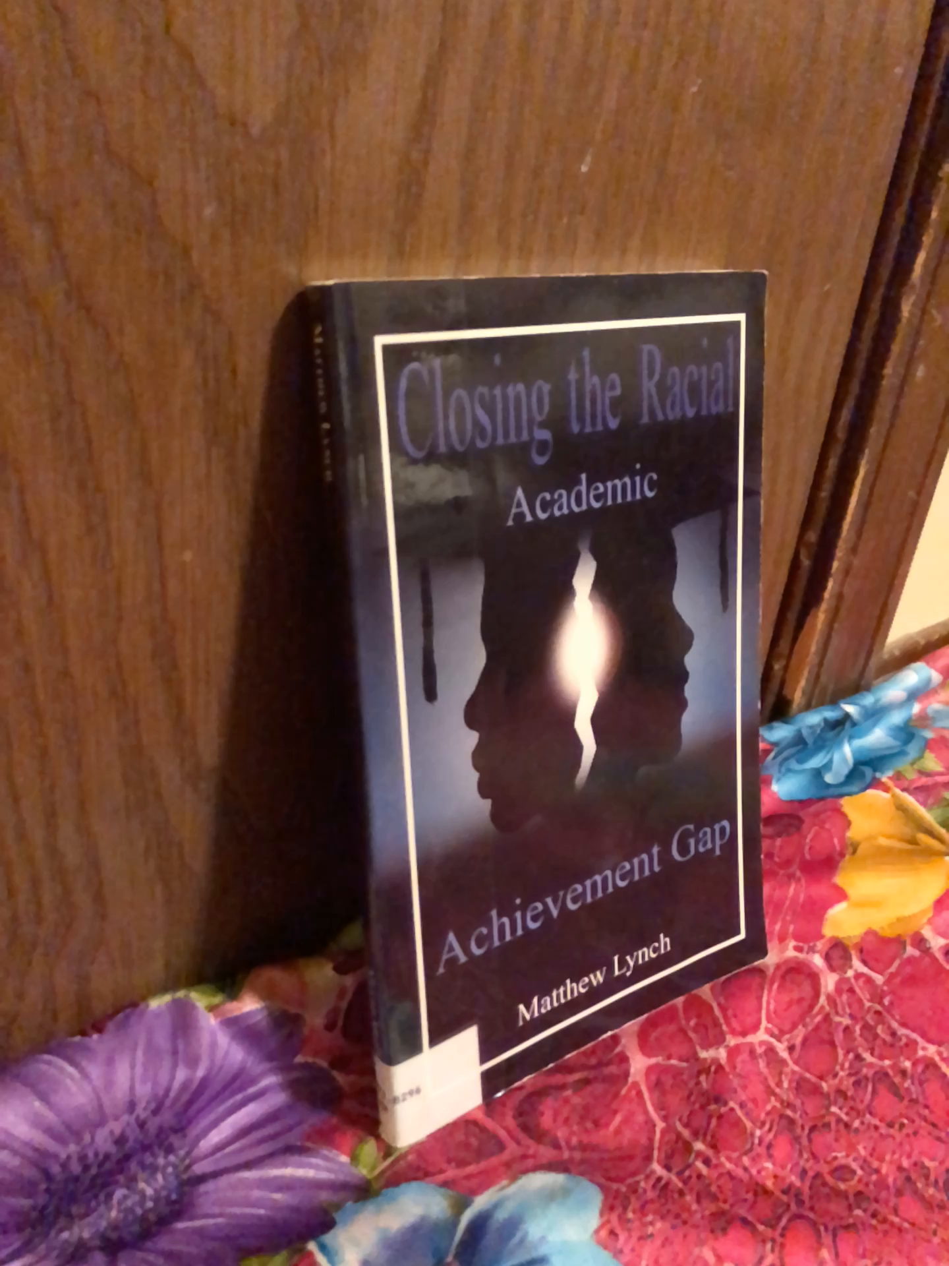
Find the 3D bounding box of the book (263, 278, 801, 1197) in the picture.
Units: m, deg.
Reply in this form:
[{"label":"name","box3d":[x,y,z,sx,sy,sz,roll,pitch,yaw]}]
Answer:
[{"label":"book","box3d":[0.024,0.022,0.300,0.146,0.230,0.036,-14,22,-34]}]
